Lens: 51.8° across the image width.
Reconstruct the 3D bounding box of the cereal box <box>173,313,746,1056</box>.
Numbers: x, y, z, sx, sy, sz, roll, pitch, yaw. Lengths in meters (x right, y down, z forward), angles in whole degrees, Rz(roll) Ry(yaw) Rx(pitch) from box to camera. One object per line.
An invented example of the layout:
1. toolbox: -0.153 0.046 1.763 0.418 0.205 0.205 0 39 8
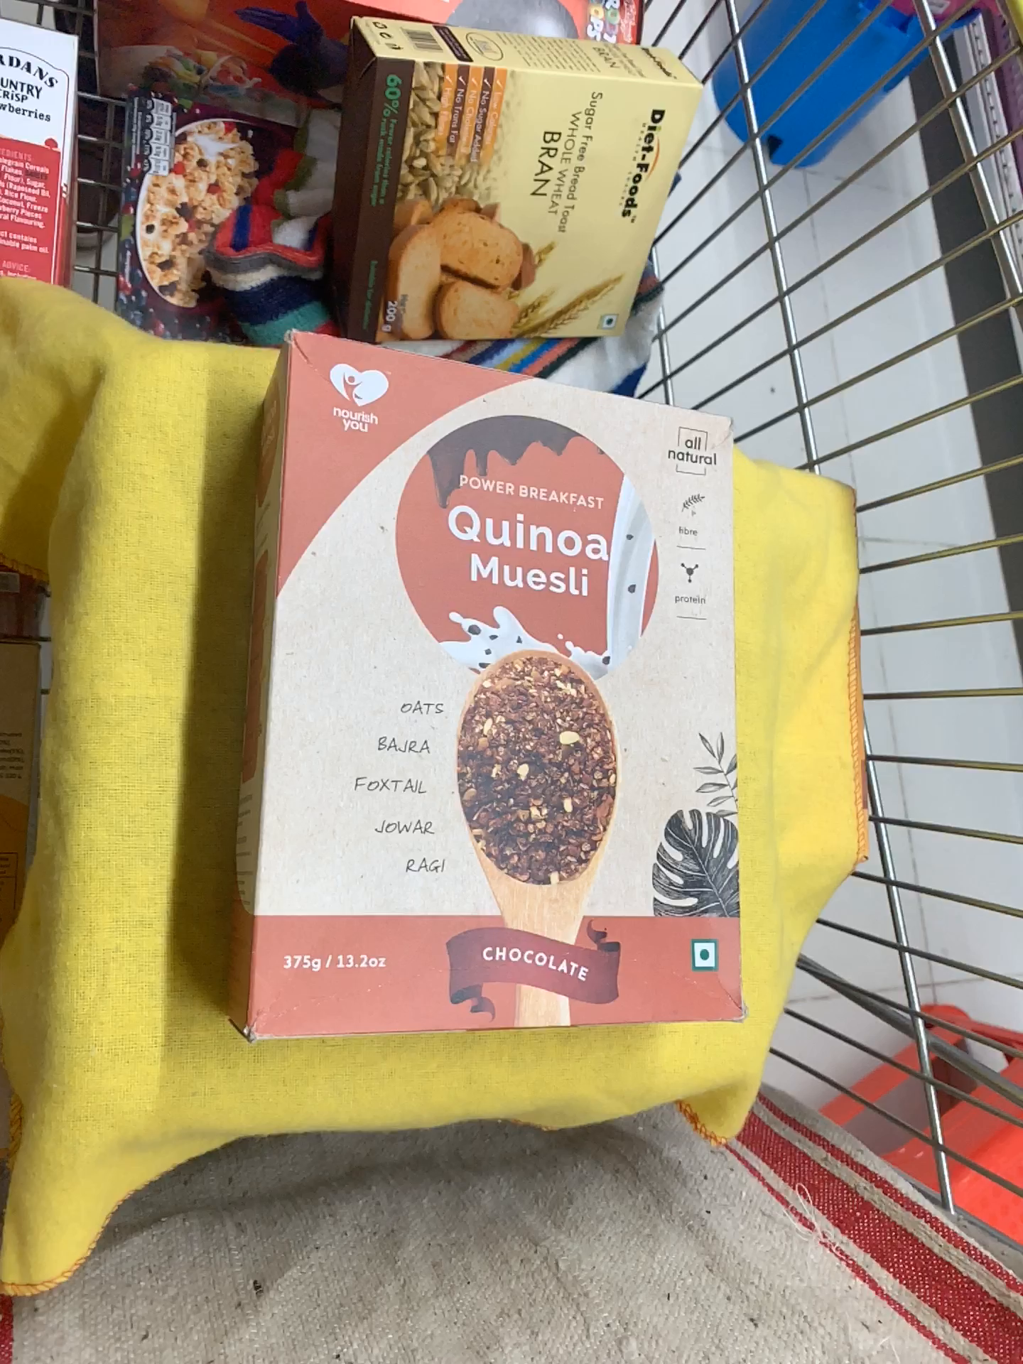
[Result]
1. cereal box: -0.014 0.005 0.350 0.170 0.060 0.210 5 79 -20
